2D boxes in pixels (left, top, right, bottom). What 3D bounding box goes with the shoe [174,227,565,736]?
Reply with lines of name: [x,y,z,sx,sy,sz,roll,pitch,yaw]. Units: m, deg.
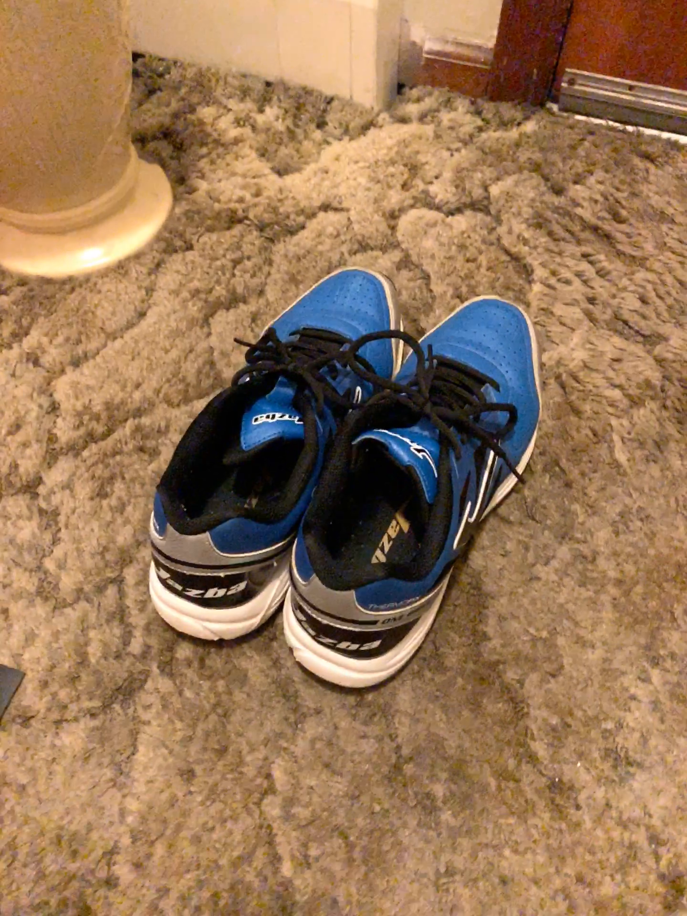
shoe: [0.030,0.005,0.439,0.100,0.119,0.282,24,62,15]

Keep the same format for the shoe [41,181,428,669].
shoe: [-0.045,-0.029,0.444,0.100,0.119,0.272,20,61,13]
